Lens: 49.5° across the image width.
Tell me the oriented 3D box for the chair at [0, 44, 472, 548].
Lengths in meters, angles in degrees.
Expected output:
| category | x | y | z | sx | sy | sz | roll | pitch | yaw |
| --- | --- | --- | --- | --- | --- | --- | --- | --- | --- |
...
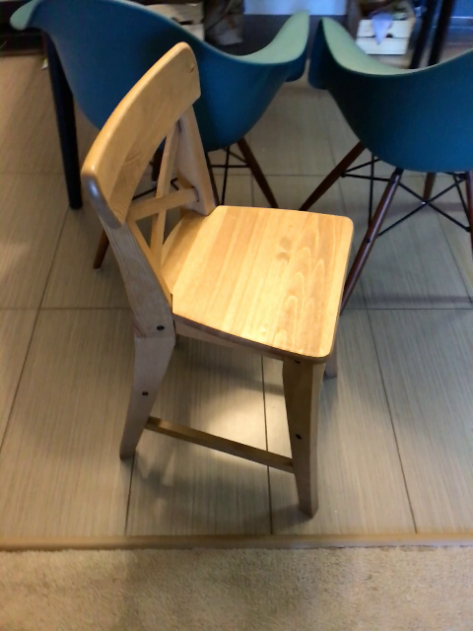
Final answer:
| category | x | y | z | sx | sy | sz | roll | pitch | yaw |
| --- | --- | --- | --- | --- | --- | --- | --- | --- | --- |
| chair | 0.022 | 0.008 | 0.886 | 0.490 | 0.686 | 0.443 | 11 | 50 | 7 |
